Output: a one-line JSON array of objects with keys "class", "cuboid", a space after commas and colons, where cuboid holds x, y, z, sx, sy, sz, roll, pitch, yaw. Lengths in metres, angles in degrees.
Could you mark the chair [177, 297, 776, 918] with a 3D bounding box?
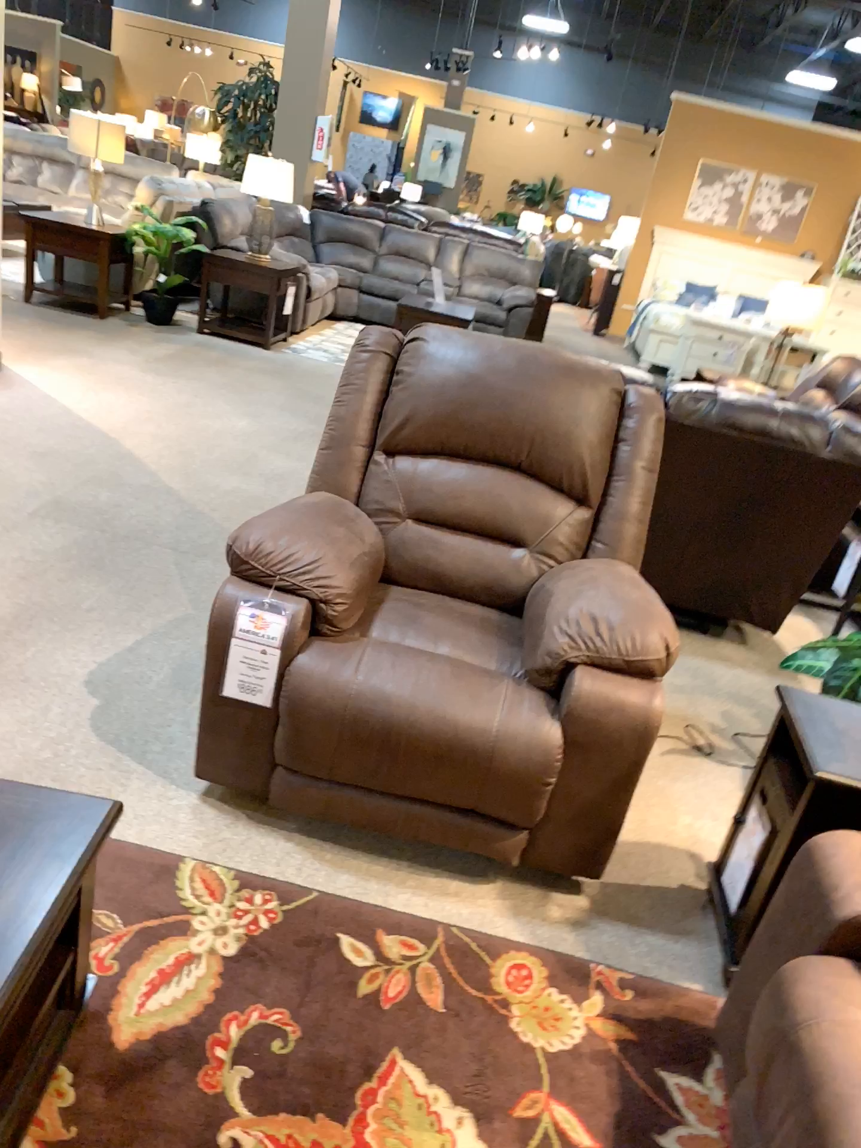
[{"class": "chair", "cuboid": [0.095, -0.028, 2.247, 1.000, 1.027, 1.070, 14, 23, 4]}]
